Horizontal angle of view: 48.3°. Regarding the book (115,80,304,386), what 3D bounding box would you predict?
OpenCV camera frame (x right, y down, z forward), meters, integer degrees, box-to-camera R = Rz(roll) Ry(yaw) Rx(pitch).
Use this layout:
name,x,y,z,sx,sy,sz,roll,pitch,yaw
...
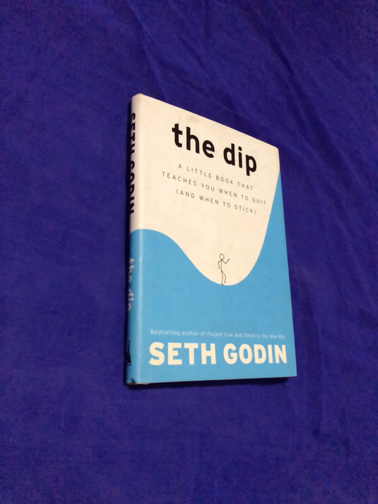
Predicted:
name,x,y,z,sx,sy,sz,roll,pitch,yaw
book,0.017,-0.009,0.297,0.141,0.020,0.190,9,71,-35
